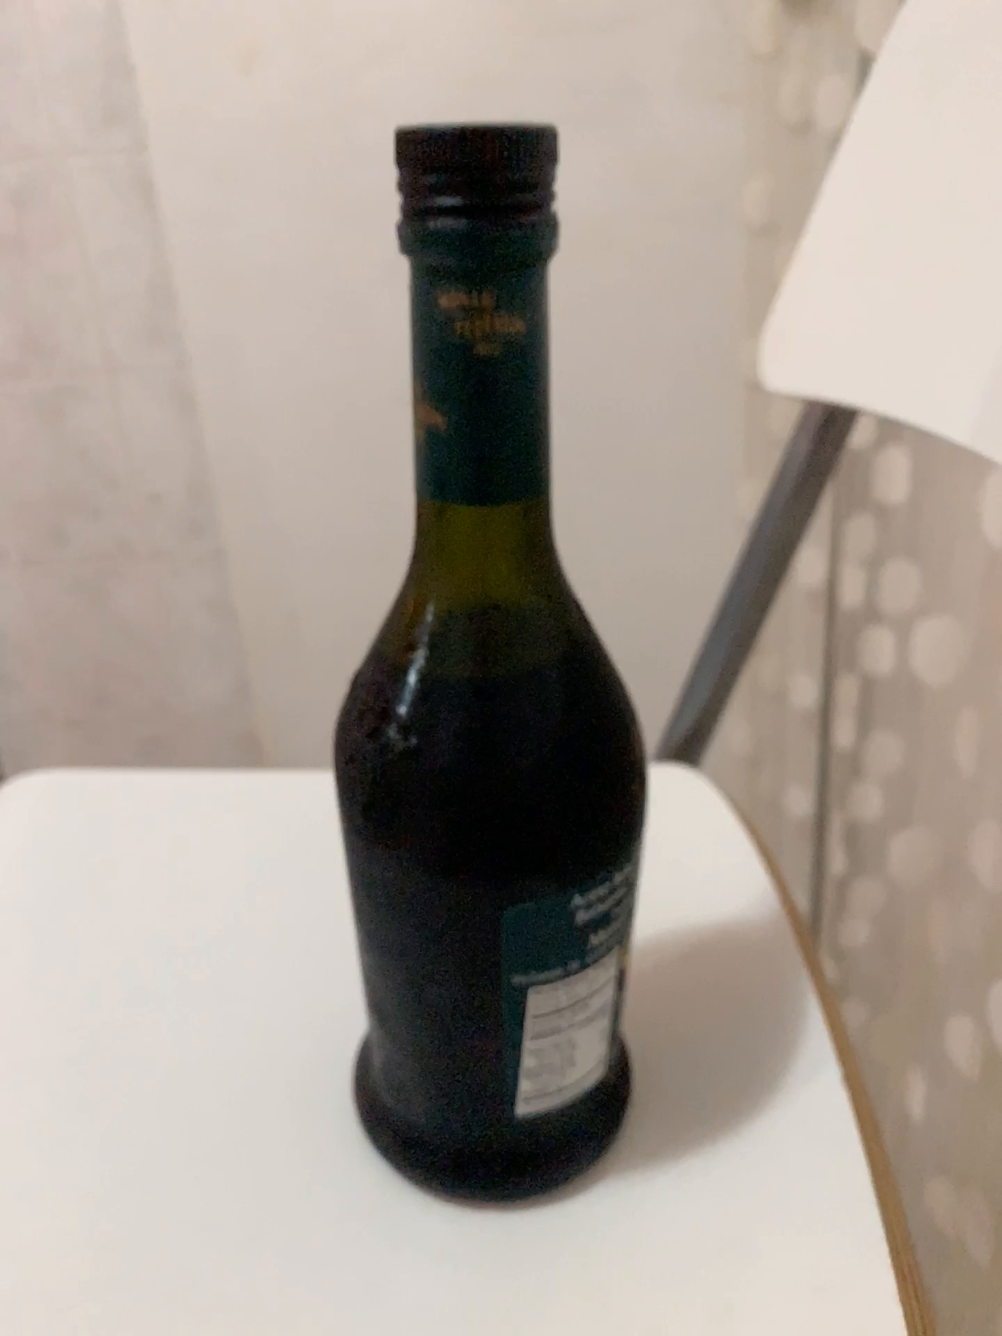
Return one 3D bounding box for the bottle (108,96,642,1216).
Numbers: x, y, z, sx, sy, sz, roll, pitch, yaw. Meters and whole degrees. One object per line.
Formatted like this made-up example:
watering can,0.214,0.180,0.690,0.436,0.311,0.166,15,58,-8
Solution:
bottle,-0.009,0.006,0.254,0.080,0.243,0.090,-1,25,8
